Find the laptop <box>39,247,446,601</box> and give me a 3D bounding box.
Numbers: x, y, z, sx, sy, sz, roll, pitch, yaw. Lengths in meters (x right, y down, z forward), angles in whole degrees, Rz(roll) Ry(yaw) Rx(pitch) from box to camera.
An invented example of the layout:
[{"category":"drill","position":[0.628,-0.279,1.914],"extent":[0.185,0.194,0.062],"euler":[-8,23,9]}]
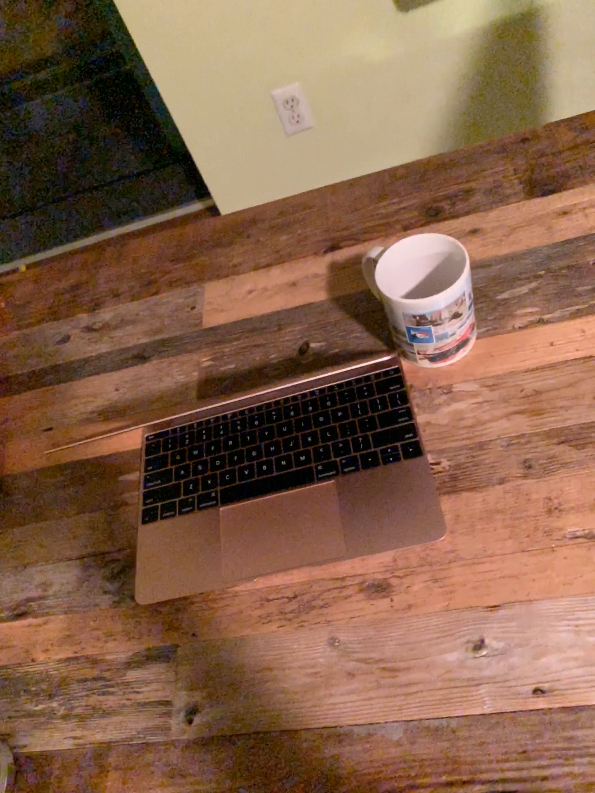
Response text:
[{"category":"laptop","position":[-0.043,0.032,0.524],"extent":[0.278,0.145,0.194],"euler":[-15,54,10]}]
